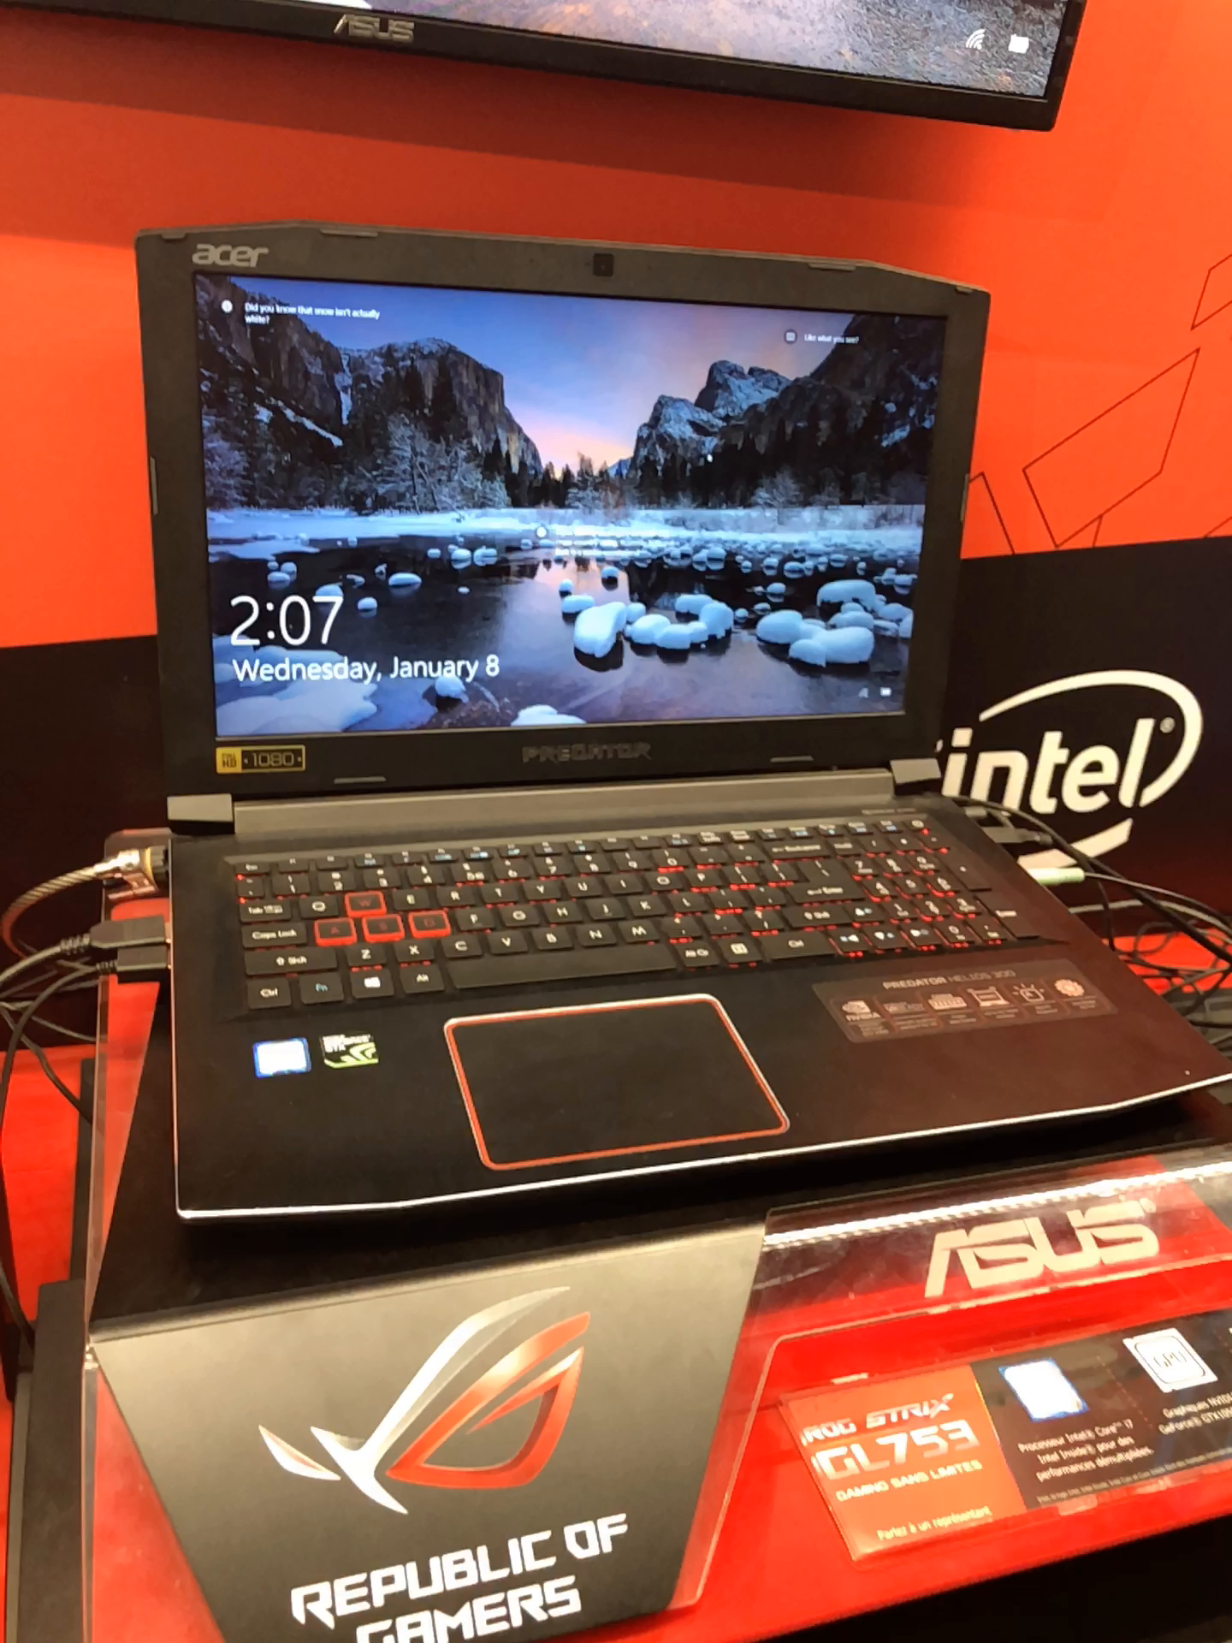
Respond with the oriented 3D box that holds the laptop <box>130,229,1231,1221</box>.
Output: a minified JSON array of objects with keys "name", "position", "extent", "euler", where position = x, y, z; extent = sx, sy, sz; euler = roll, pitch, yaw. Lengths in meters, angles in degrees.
[{"name":"laptop","position":[0.024,-0.071,0.532],"extent":[0.385,0.240,0.295],"euler":[-3,28,-17]}]
